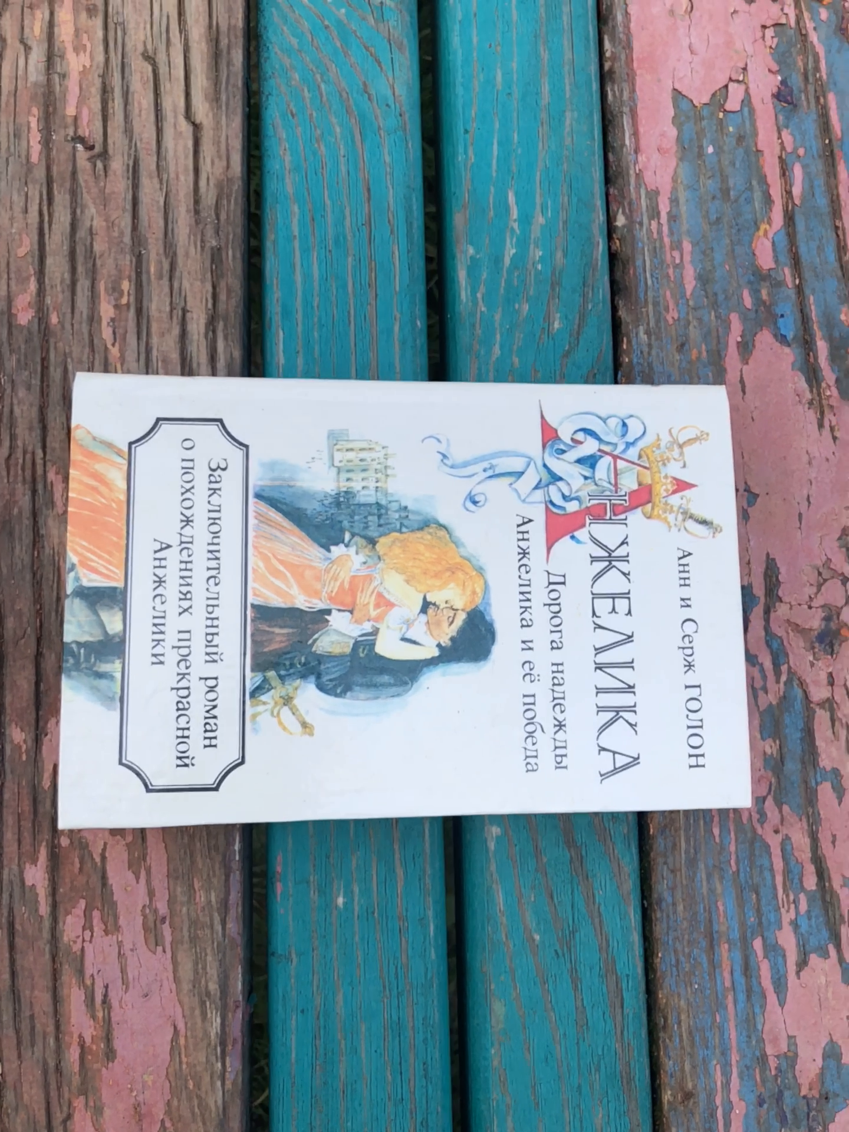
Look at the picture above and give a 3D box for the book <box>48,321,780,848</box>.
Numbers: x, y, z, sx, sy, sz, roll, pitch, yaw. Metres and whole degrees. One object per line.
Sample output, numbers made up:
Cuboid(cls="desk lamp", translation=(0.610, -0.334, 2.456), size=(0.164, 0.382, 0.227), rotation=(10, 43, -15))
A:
Cuboid(cls="book", translation=(-0.002, 0.004, 0.300), size=(0.213, 0.032, 0.153), rotation=(0, 83, -6))
